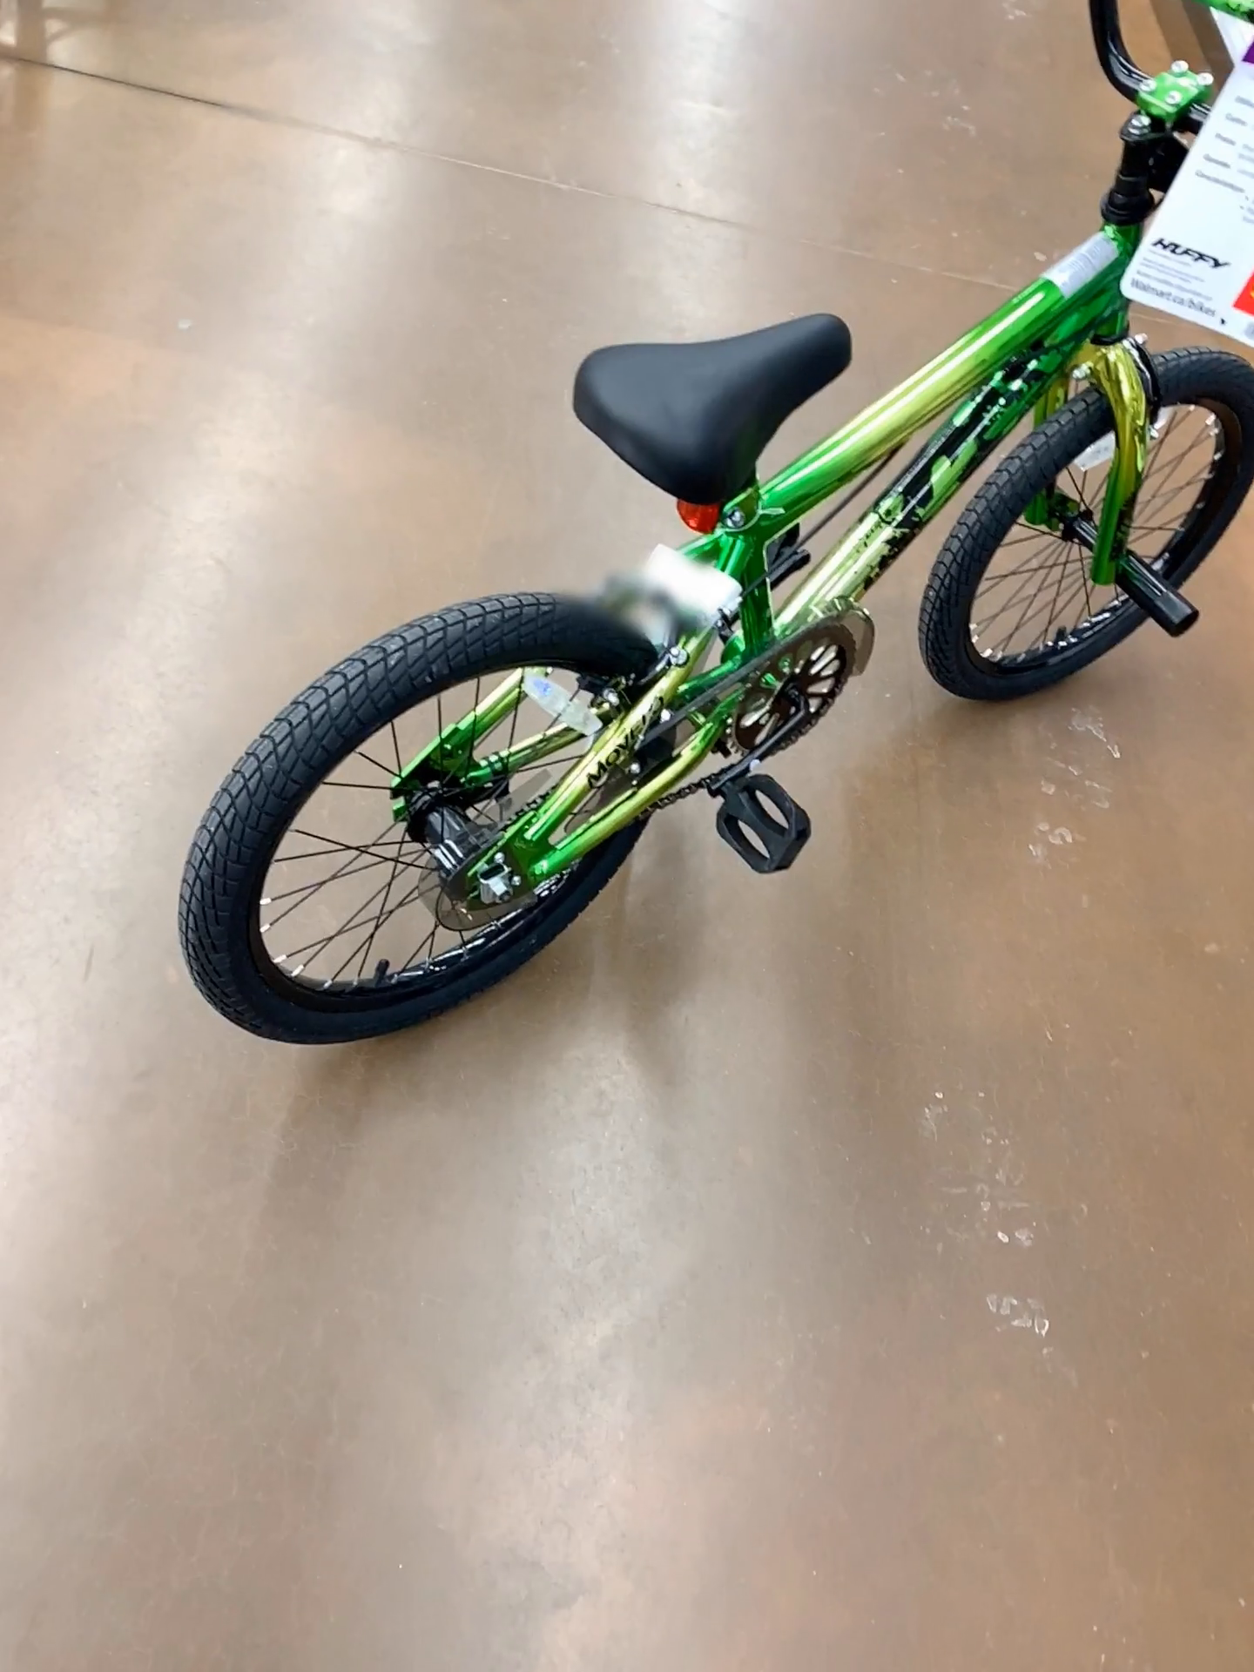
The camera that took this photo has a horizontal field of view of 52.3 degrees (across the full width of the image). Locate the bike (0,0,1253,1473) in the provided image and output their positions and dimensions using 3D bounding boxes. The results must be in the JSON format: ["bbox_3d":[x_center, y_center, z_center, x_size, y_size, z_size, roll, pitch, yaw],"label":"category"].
[{"bbox_3d":[0.368,-0.281,1.097,1.408,1.035,0.718,-27,62,-22],"label":"bike"}]
